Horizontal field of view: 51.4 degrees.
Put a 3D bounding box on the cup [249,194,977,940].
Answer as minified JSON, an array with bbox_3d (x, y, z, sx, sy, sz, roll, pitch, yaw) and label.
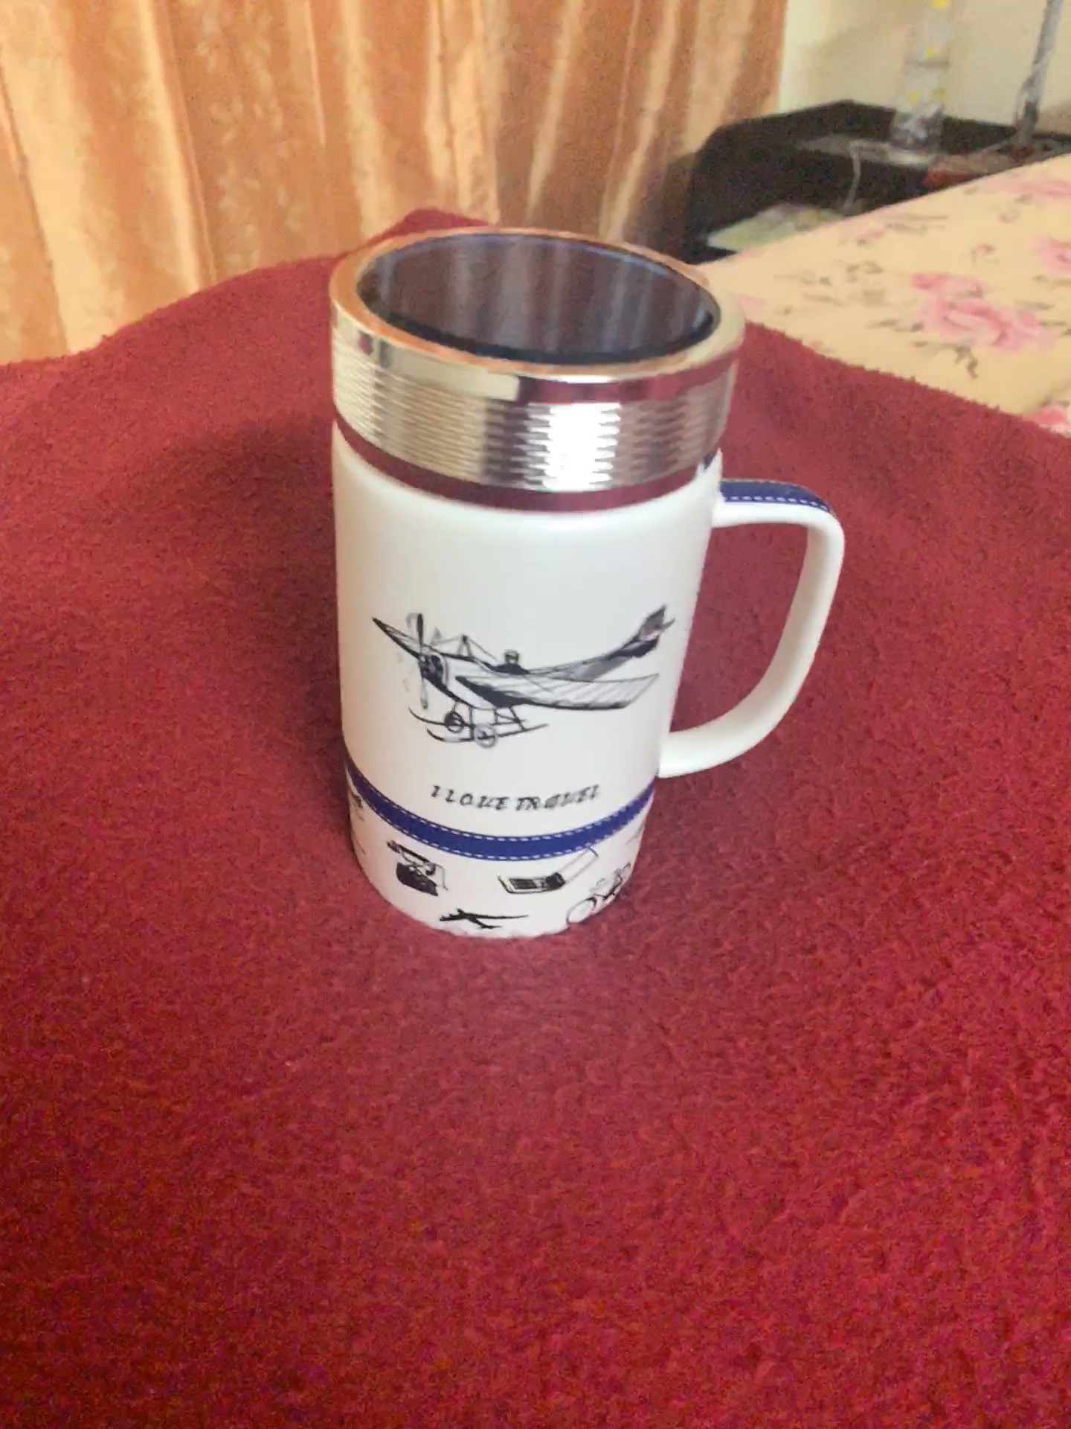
[{"bbox_3d":[0.005,-0.031,0.258,0.120,0.139,0.091,-1,40,-8],"label":"cup"}]
